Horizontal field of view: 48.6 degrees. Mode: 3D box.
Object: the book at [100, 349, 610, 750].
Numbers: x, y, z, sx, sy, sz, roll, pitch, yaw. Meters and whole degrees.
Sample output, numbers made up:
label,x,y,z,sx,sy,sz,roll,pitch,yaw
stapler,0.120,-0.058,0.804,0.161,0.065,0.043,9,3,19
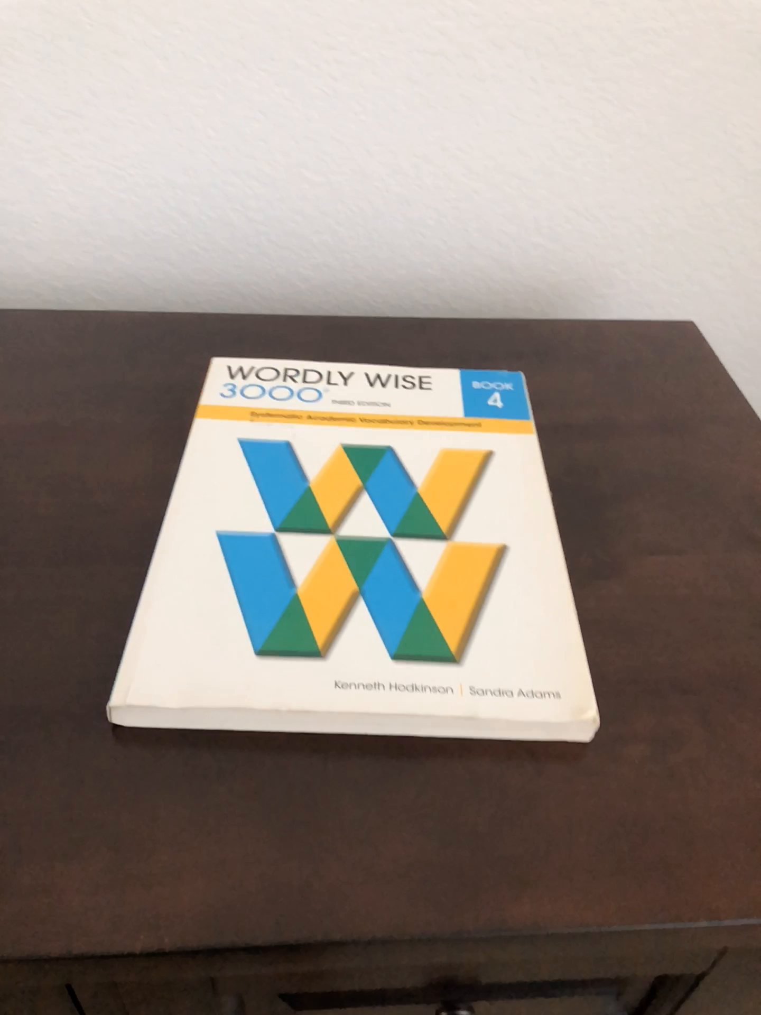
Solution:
label,x,y,z,sx,sy,sz,roll,pitch,yaw
book,-0.009,0.002,0.465,0.217,0.020,0.275,3,43,-2
